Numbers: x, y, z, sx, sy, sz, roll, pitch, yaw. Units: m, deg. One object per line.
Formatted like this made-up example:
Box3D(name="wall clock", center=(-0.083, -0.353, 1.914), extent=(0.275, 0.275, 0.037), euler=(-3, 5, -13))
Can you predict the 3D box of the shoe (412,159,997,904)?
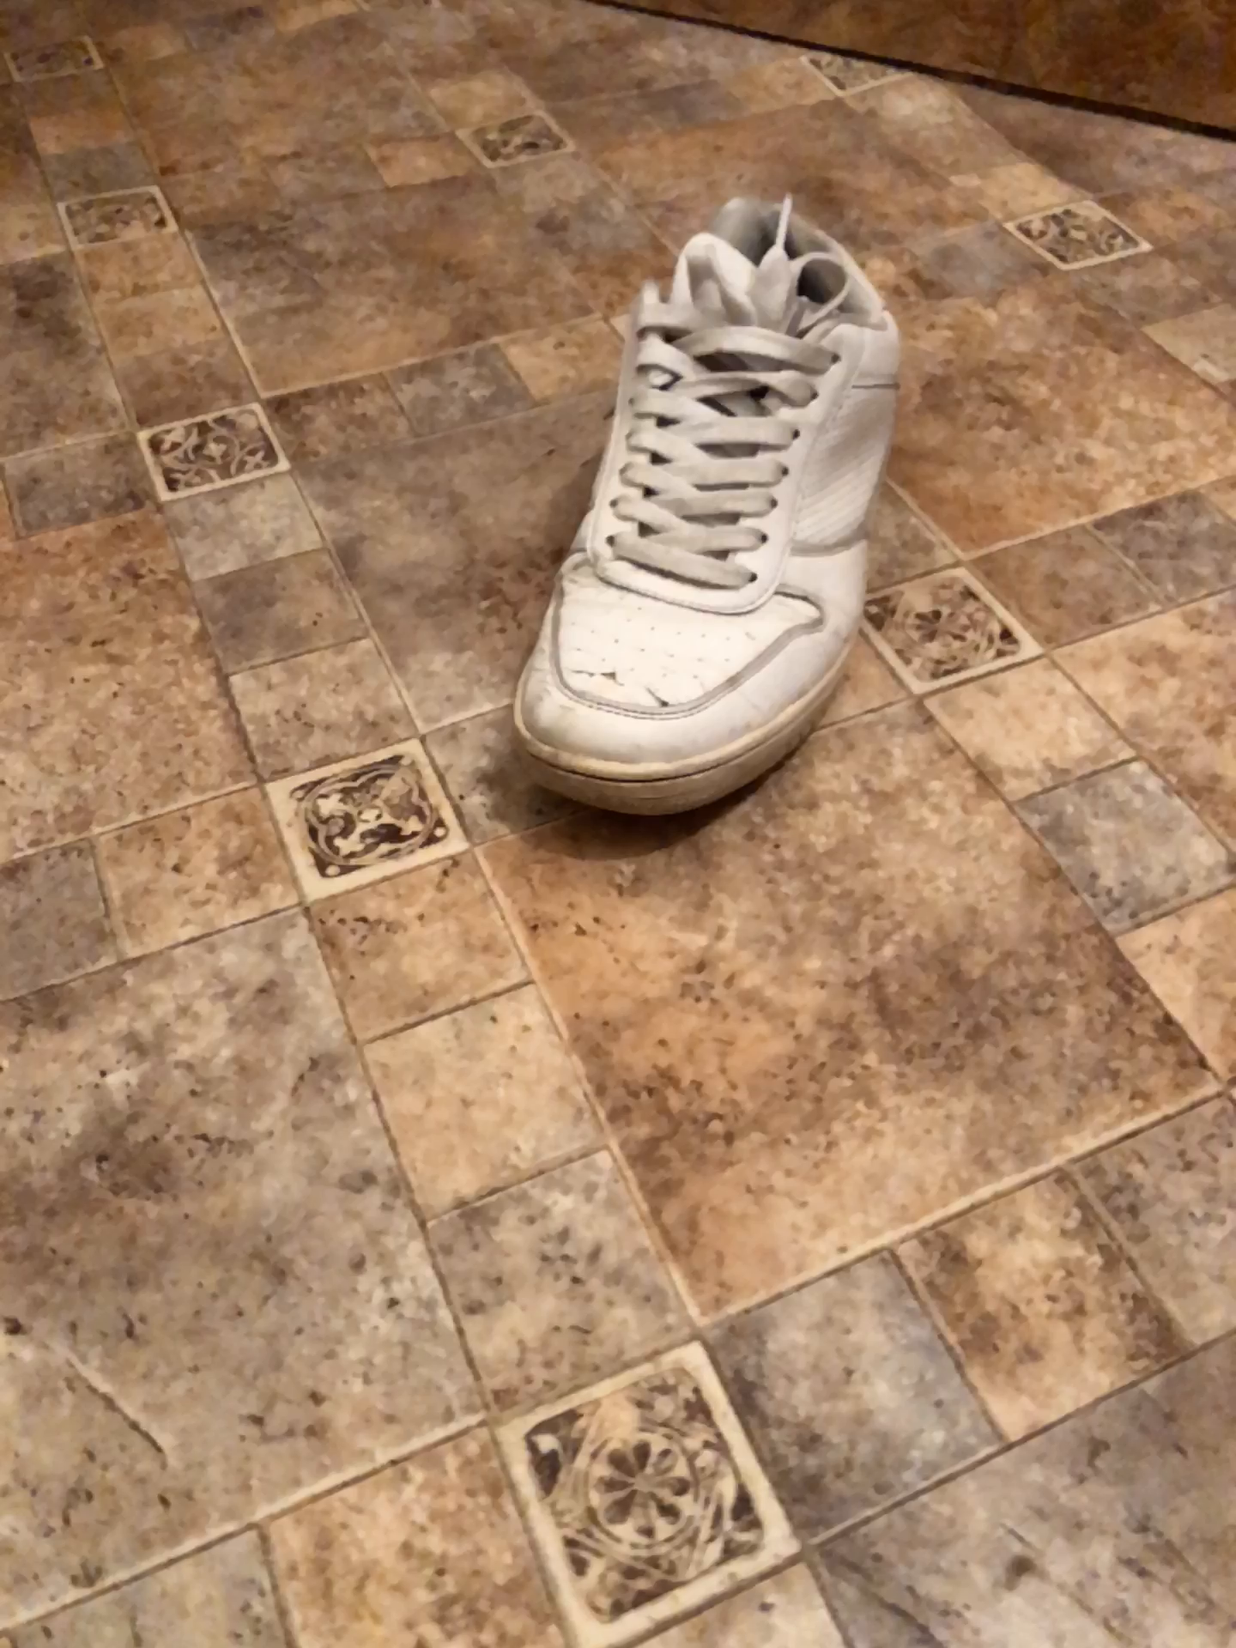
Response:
Box3D(name="shoe", center=(0.046, -0.125, 0.511), extent=(0.122, 0.109, 0.282), euler=(15, 51, 13))
